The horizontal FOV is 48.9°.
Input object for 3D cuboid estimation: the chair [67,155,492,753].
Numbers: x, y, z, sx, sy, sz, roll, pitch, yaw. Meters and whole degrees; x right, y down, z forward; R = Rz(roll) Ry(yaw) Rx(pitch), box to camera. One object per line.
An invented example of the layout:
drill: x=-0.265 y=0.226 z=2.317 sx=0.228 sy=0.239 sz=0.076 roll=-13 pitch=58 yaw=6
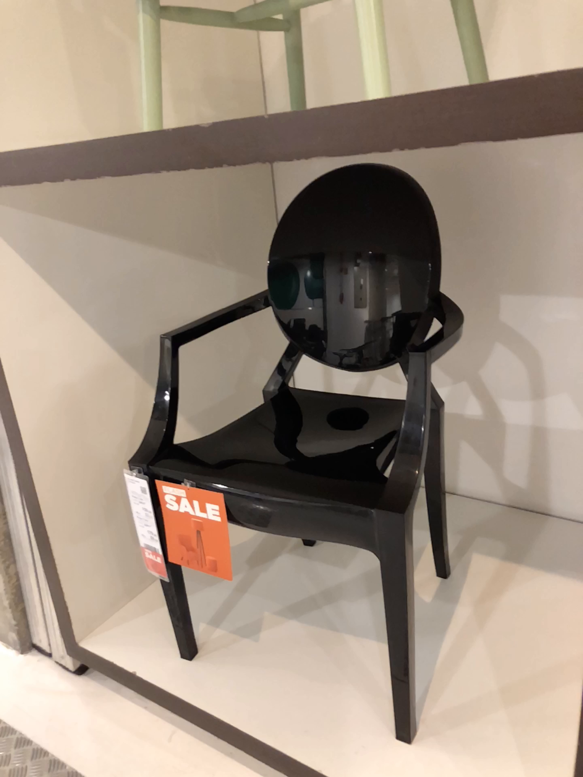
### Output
chair: x=0.051 y=0.063 z=1.180 sx=0.511 sy=0.855 sz=0.492 roll=5 pitch=24 yaw=29
